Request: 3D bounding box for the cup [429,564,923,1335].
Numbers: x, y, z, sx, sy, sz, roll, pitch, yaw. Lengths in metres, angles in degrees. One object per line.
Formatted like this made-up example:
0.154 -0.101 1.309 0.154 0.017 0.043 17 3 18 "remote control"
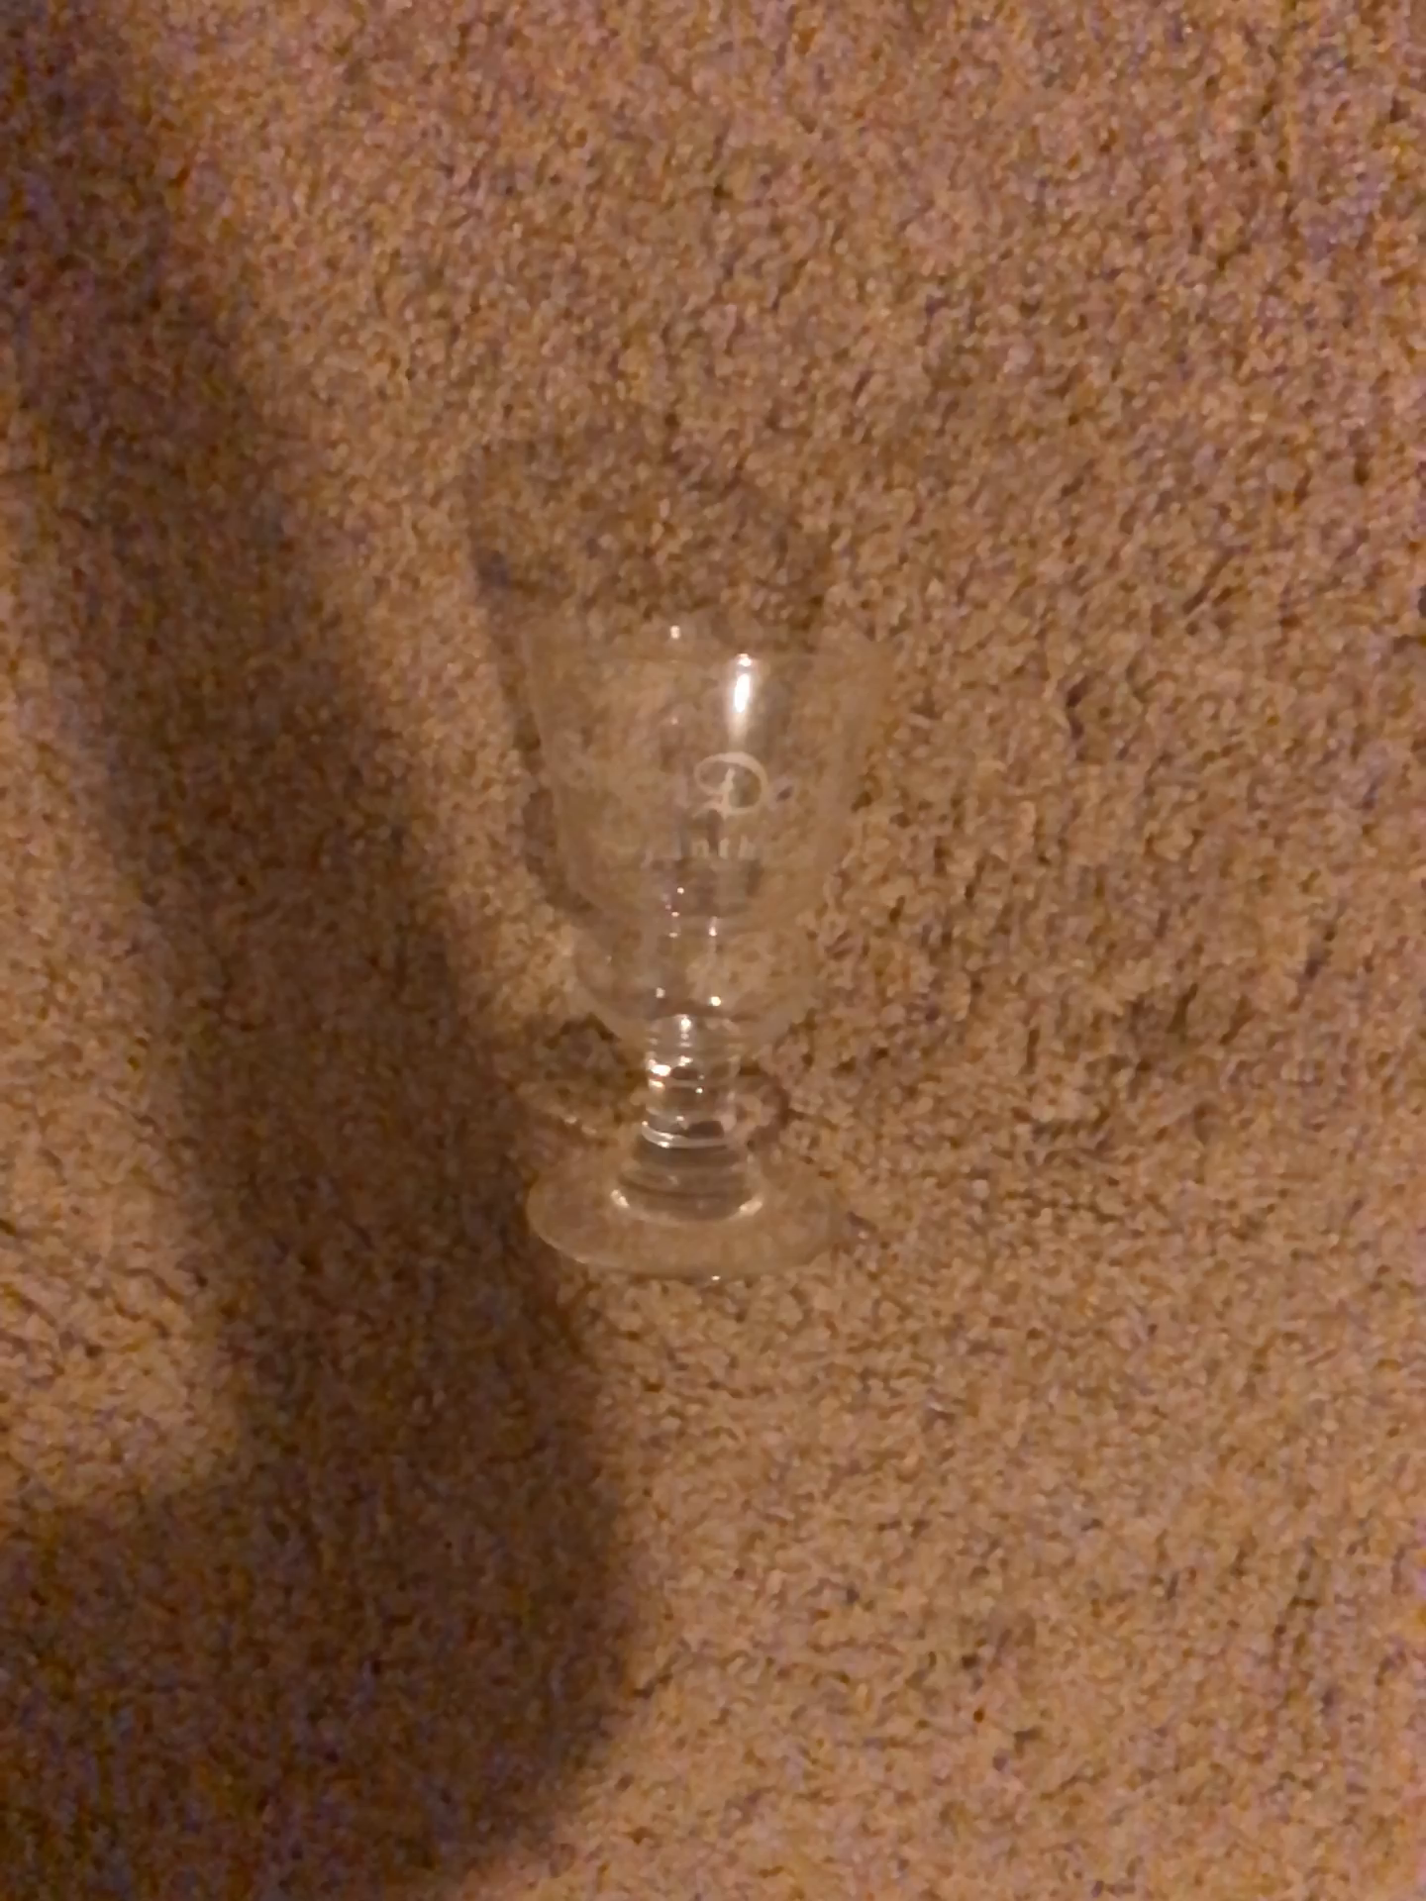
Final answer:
-0.009 -0.004 0.358 0.094 0.078 0.158 1 102 -1 "cup"
